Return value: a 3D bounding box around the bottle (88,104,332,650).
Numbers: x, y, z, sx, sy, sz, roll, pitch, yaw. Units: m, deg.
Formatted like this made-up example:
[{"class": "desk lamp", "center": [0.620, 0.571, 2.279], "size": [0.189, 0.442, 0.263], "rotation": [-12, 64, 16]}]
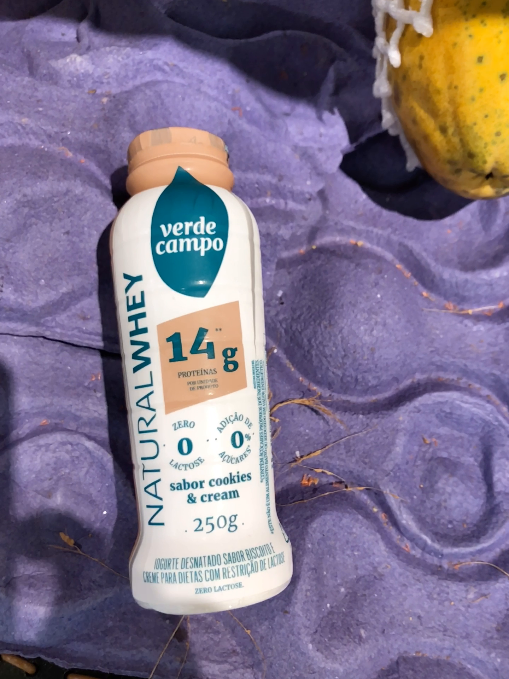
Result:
[{"class": "bottle", "center": [-0.019, 0.007, 0.193], "size": [0.060, 0.040, 0.160], "rotation": [-4, 81, -15]}]
